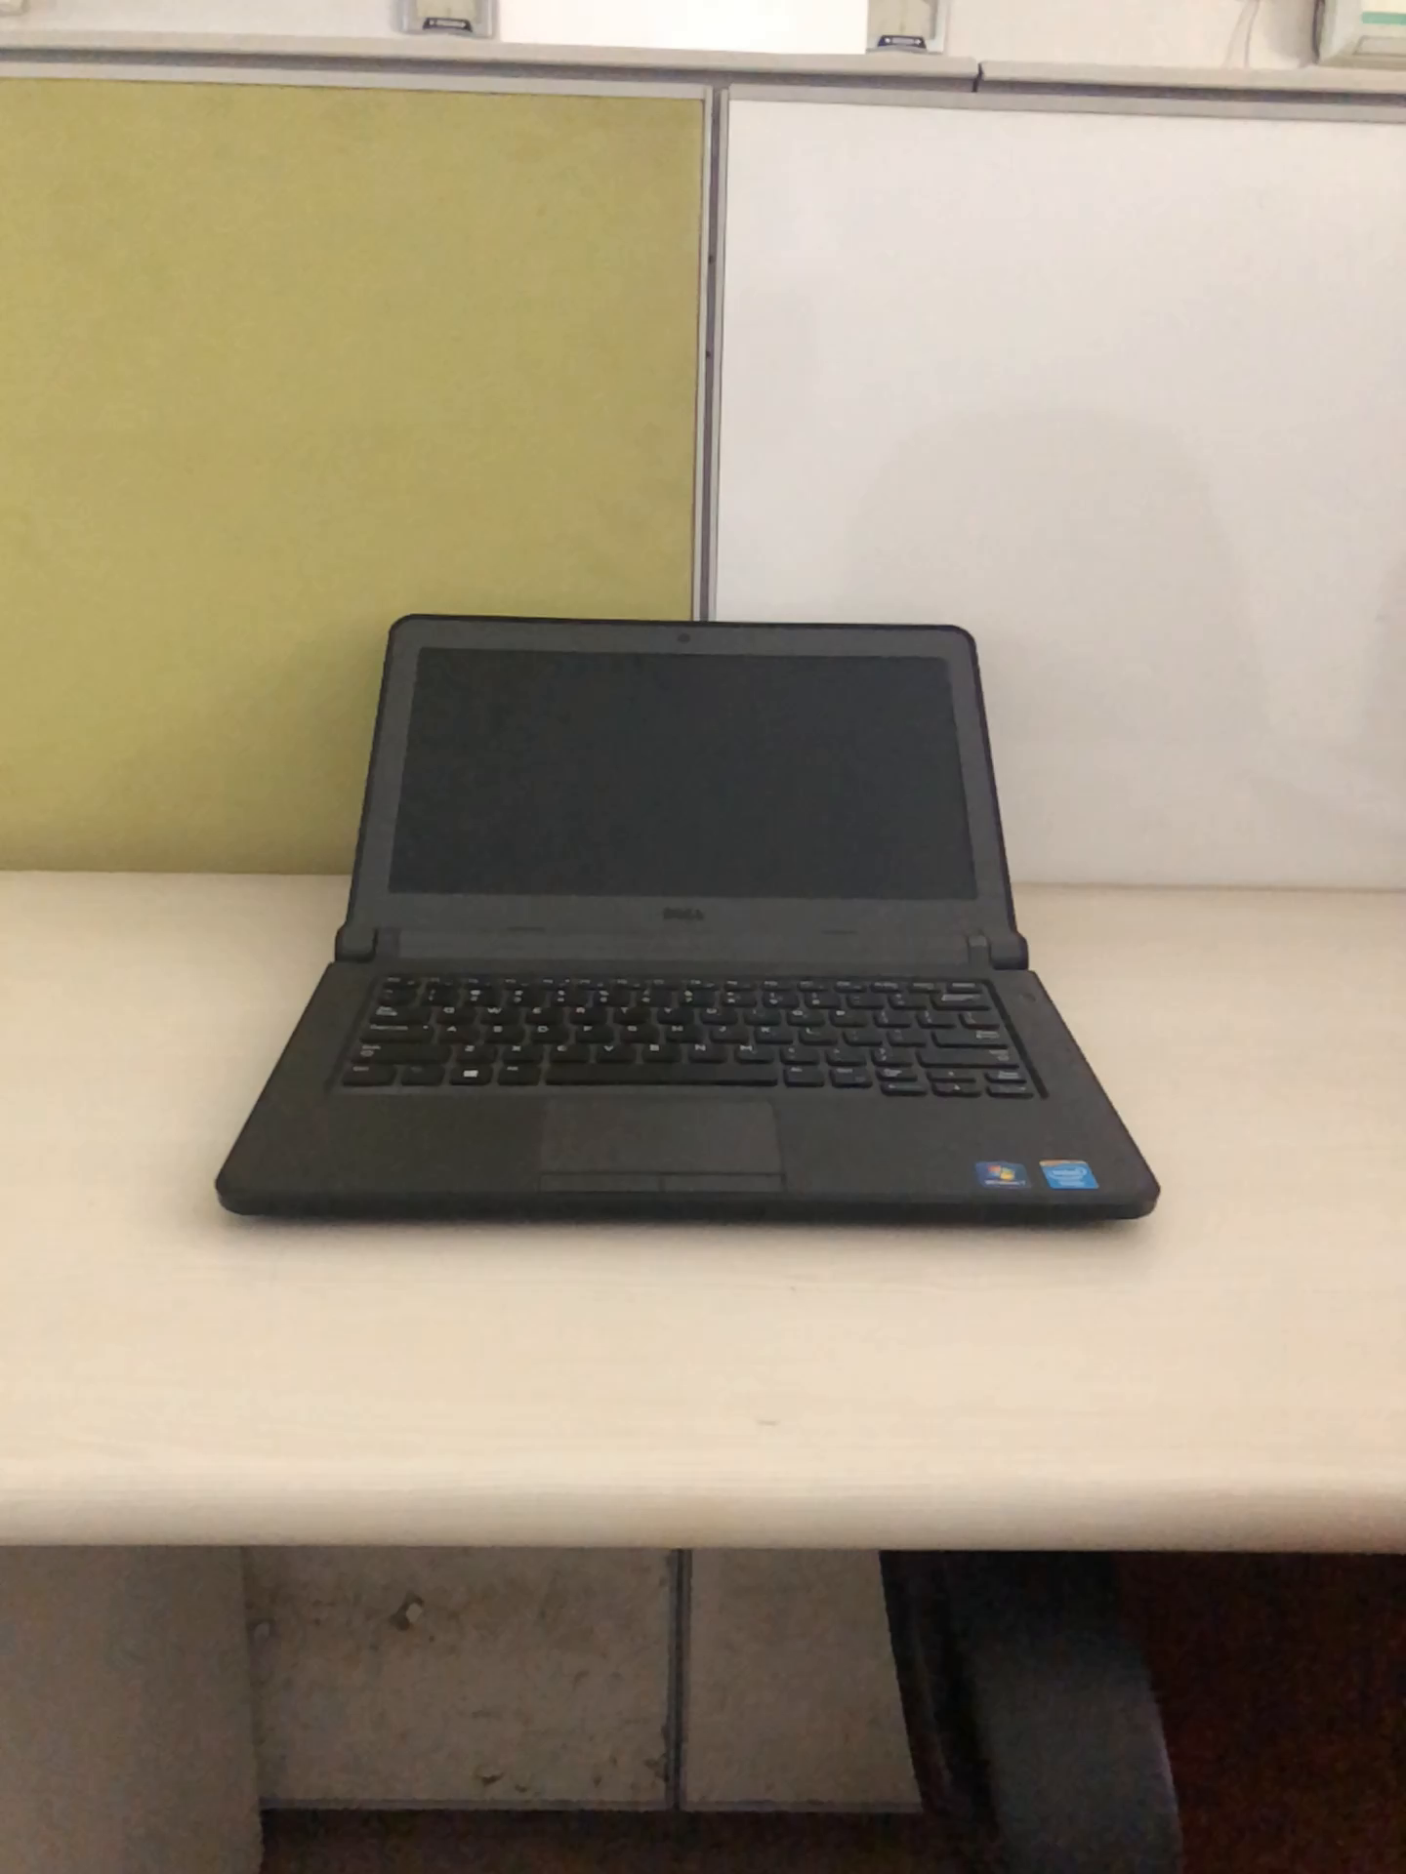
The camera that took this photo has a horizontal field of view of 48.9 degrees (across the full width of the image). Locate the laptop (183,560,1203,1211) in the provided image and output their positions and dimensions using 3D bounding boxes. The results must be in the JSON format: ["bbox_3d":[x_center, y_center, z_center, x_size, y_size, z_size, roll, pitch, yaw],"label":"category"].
[{"bbox_3d":[-0.008,-0.058,0.687,0.316,0.122,0.417,1,24,-2],"label":"laptop"}]
